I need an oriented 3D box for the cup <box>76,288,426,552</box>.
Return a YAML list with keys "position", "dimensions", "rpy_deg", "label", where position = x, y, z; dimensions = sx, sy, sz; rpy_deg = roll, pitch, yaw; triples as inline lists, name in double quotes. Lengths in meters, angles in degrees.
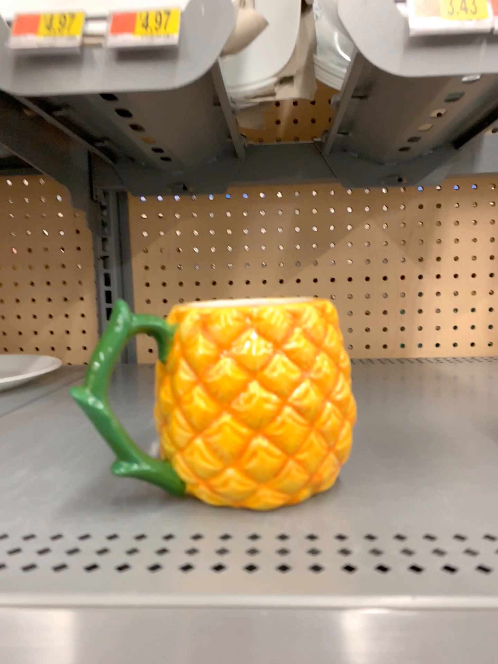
- position: [-0.004, 0.029, 0.273]
  dimensions: [0.160, 0.100, 0.100]
  rpy_deg: [-4, 5, -20]
  label: "cup"
